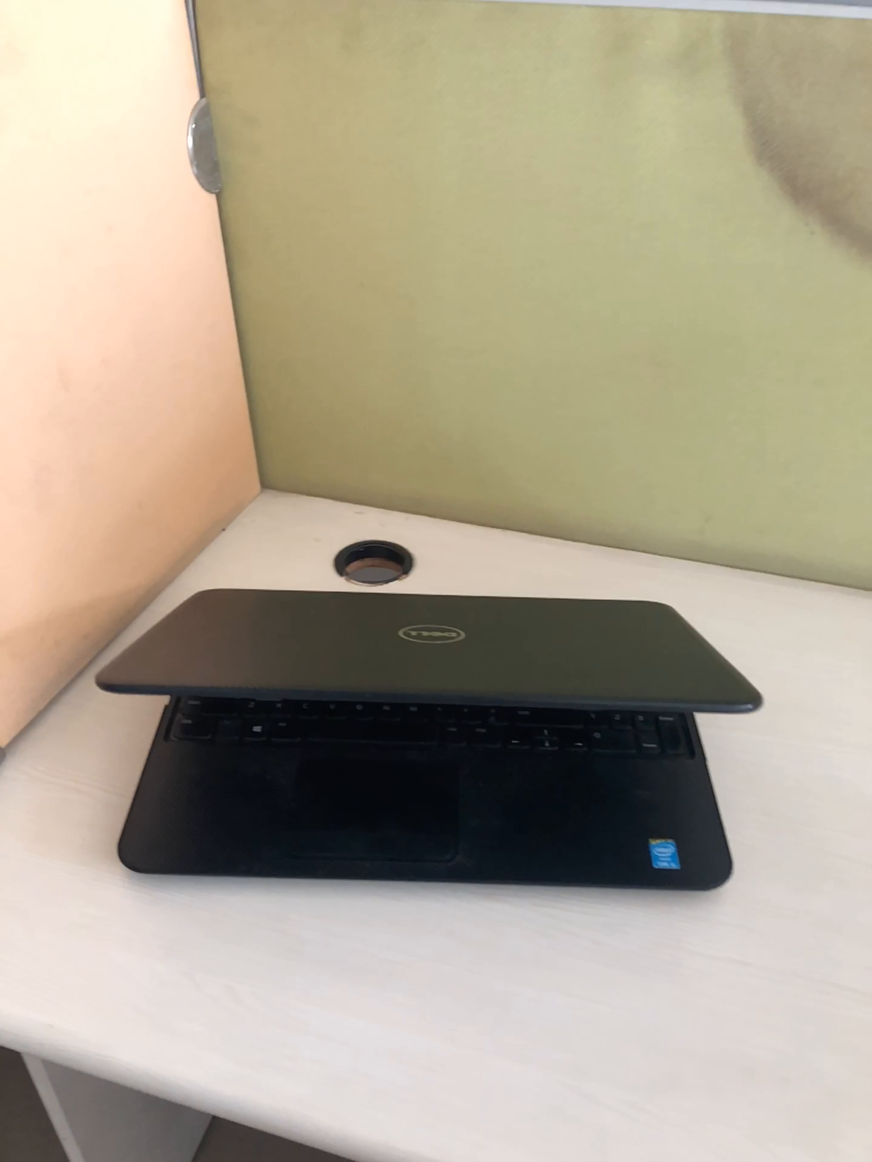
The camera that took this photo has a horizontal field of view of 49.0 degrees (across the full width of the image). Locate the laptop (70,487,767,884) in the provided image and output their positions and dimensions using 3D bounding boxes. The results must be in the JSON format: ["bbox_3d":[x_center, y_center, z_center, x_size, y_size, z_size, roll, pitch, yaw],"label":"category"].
[{"bbox_3d":[-0.007,0.054,0.631,0.366,0.106,0.248,1,37,1],"label":"laptop"}]
